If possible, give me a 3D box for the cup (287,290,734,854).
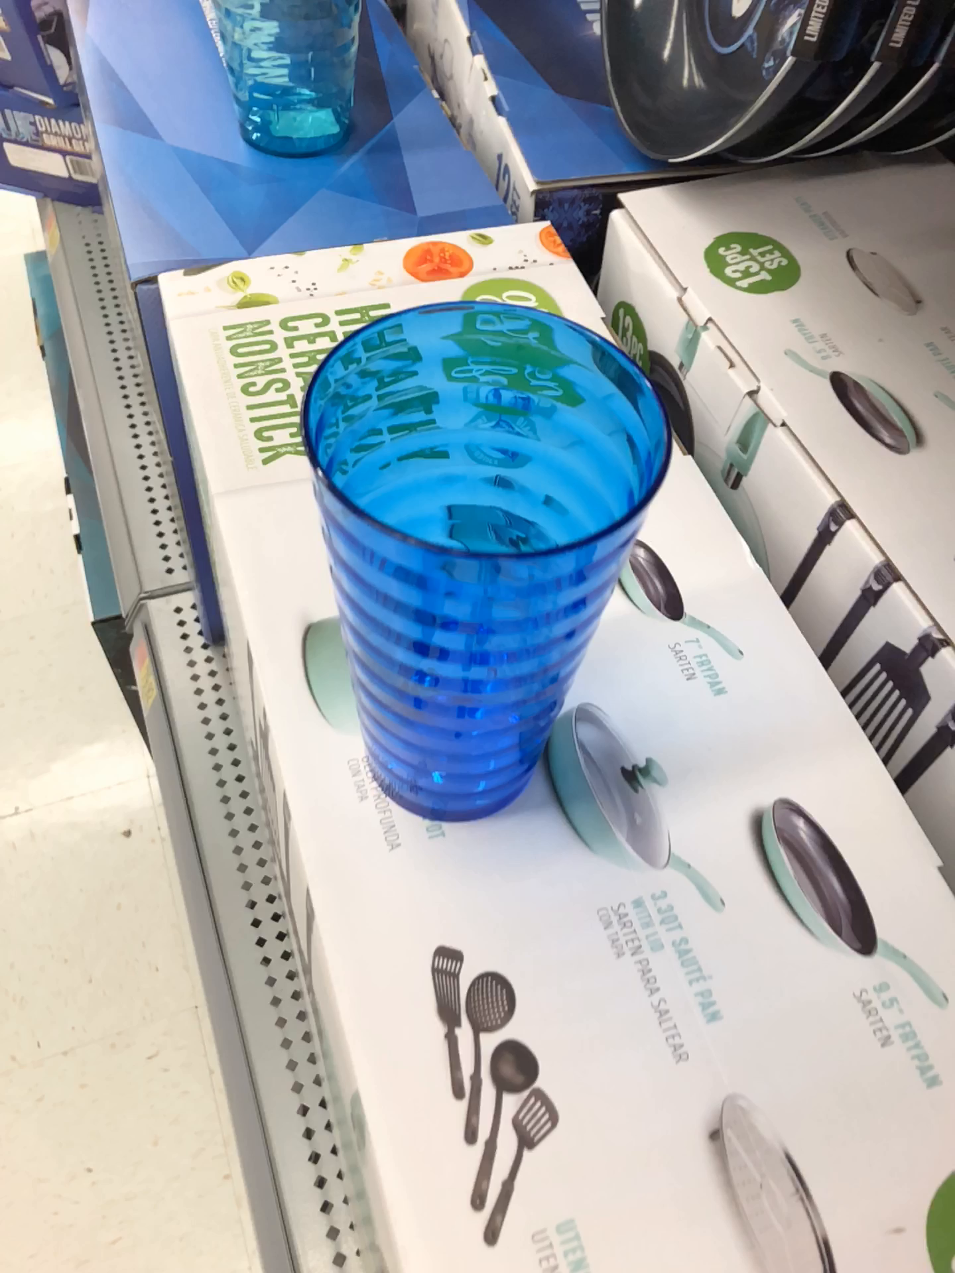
[{"bbox_3d":[0.000,-0.011,0.293,0.091,0.134,0.088,2,54,-2],"label":"cup"}]
